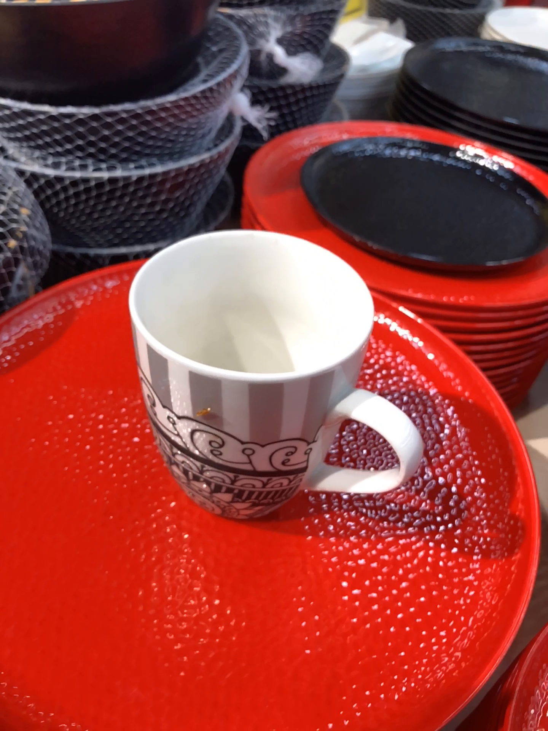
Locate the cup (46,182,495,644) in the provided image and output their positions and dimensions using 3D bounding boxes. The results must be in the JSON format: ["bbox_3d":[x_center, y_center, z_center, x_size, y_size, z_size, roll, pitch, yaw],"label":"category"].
[{"bbox_3d":[-0.006,0.012,0.230,0.120,0.099,0.080,31,47,24],"label":"cup"}]
